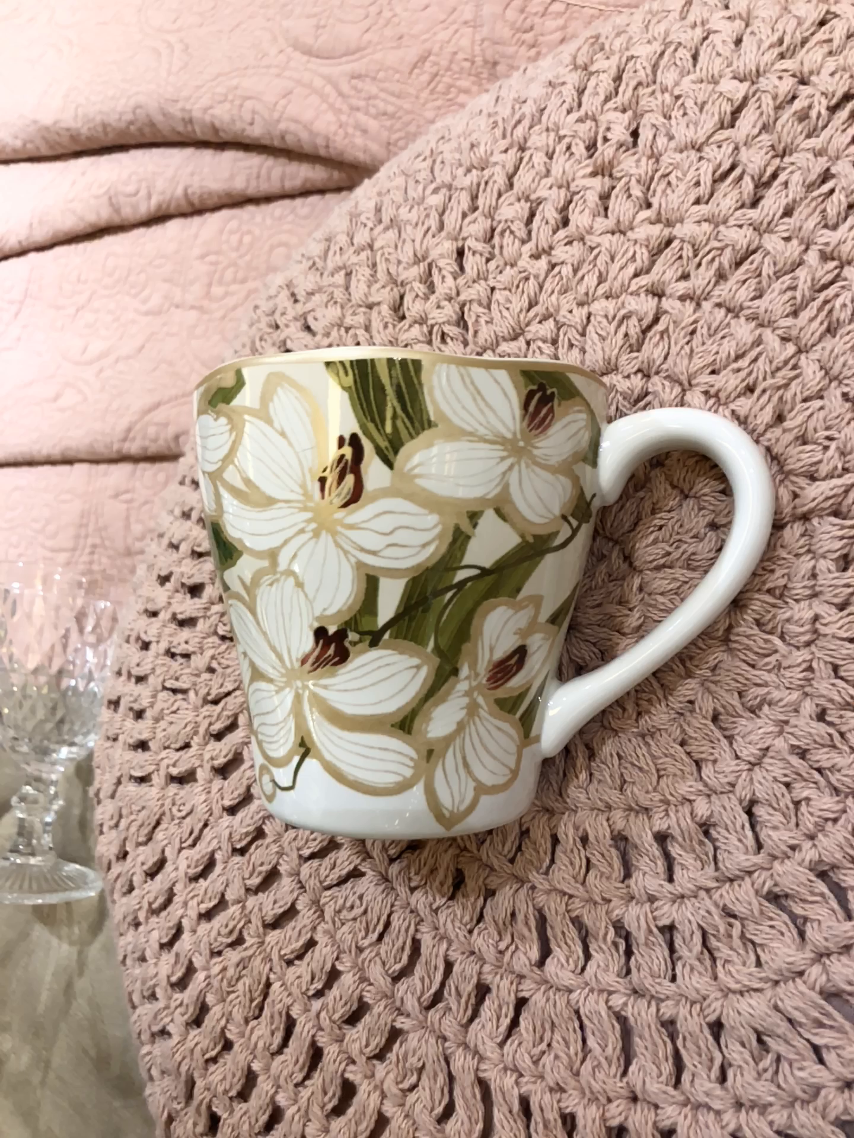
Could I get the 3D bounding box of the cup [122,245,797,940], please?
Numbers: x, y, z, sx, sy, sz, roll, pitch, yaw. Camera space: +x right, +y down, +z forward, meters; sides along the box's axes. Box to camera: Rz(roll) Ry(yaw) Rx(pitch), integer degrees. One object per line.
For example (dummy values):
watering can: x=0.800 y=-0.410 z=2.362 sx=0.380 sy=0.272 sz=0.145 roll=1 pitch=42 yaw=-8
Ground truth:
cup: x=0.013 y=0.004 z=0.234 sx=0.140 sy=0.090 sz=0.120 roll=-1 pitch=91 yaw=24
